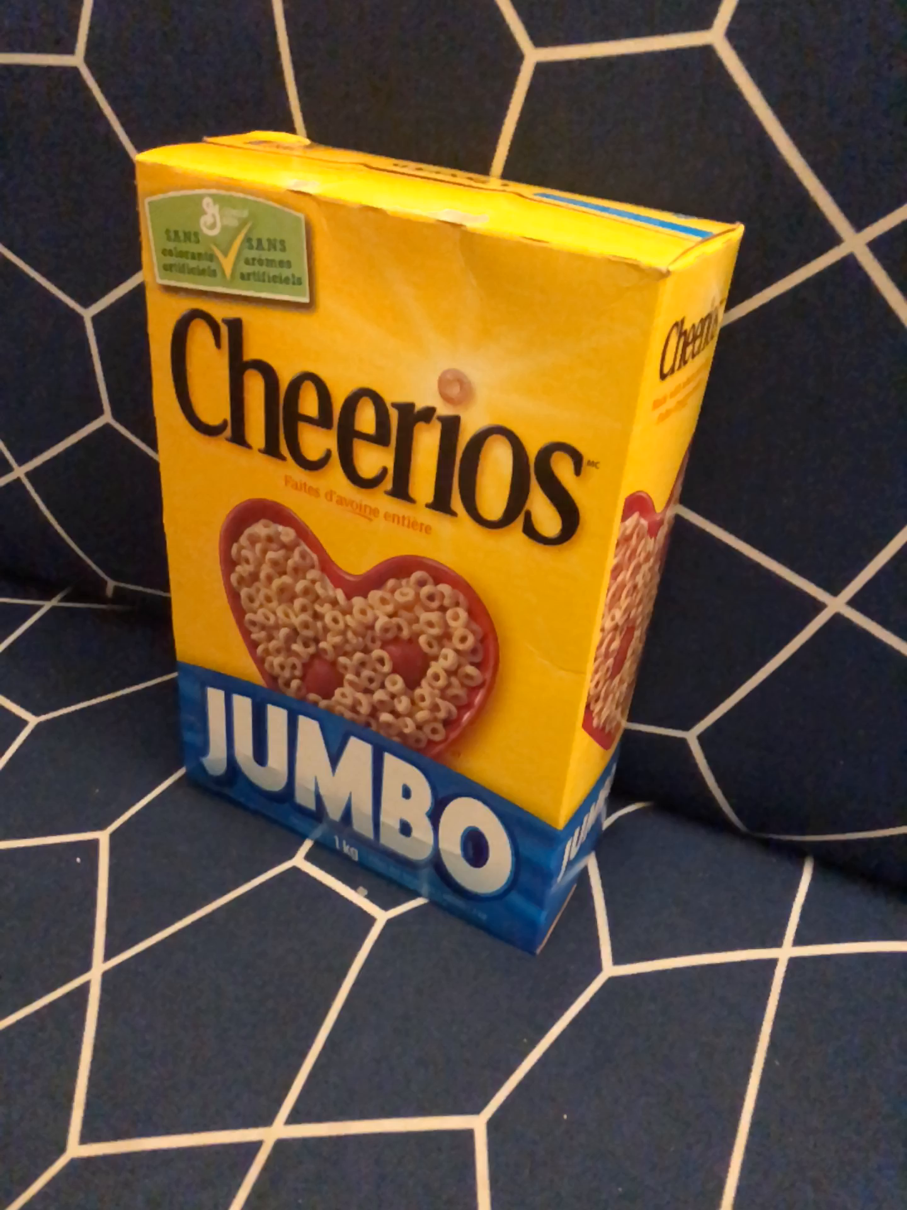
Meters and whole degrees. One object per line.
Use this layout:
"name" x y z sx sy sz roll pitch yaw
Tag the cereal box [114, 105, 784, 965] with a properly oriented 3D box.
"cereal box" -0.019 -0.026 0.404 0.210 0.288 0.080 21 34 21
